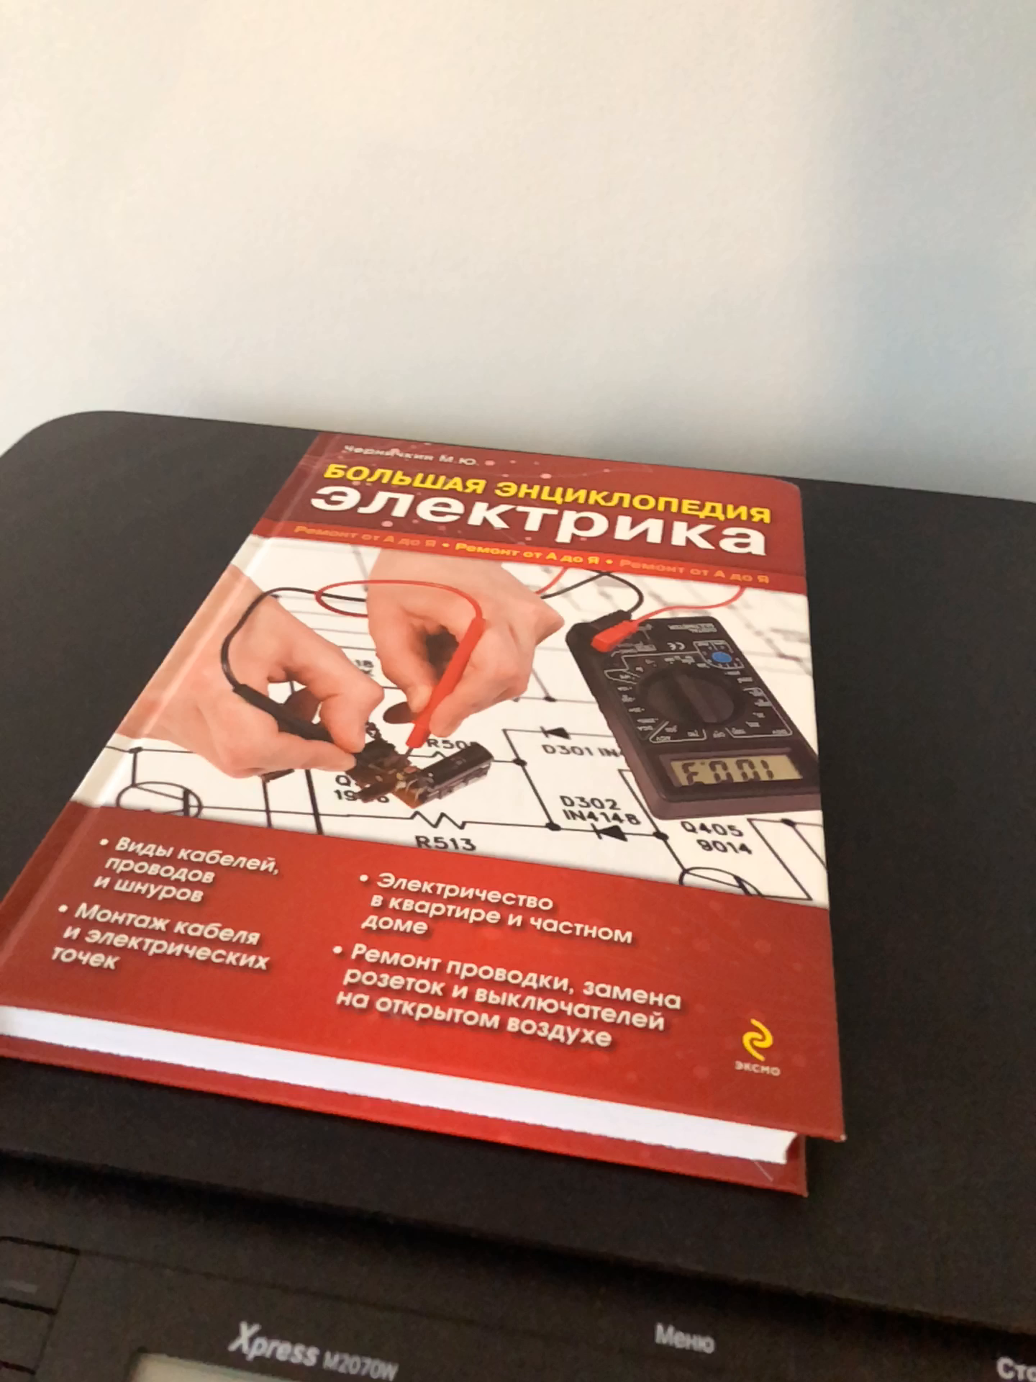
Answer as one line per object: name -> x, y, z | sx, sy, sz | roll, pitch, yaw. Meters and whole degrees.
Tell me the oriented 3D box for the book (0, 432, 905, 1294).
book -> -0.001, 0.011, 0.302 | 0.170, 0.040, 0.242 | 7, 39, 6
